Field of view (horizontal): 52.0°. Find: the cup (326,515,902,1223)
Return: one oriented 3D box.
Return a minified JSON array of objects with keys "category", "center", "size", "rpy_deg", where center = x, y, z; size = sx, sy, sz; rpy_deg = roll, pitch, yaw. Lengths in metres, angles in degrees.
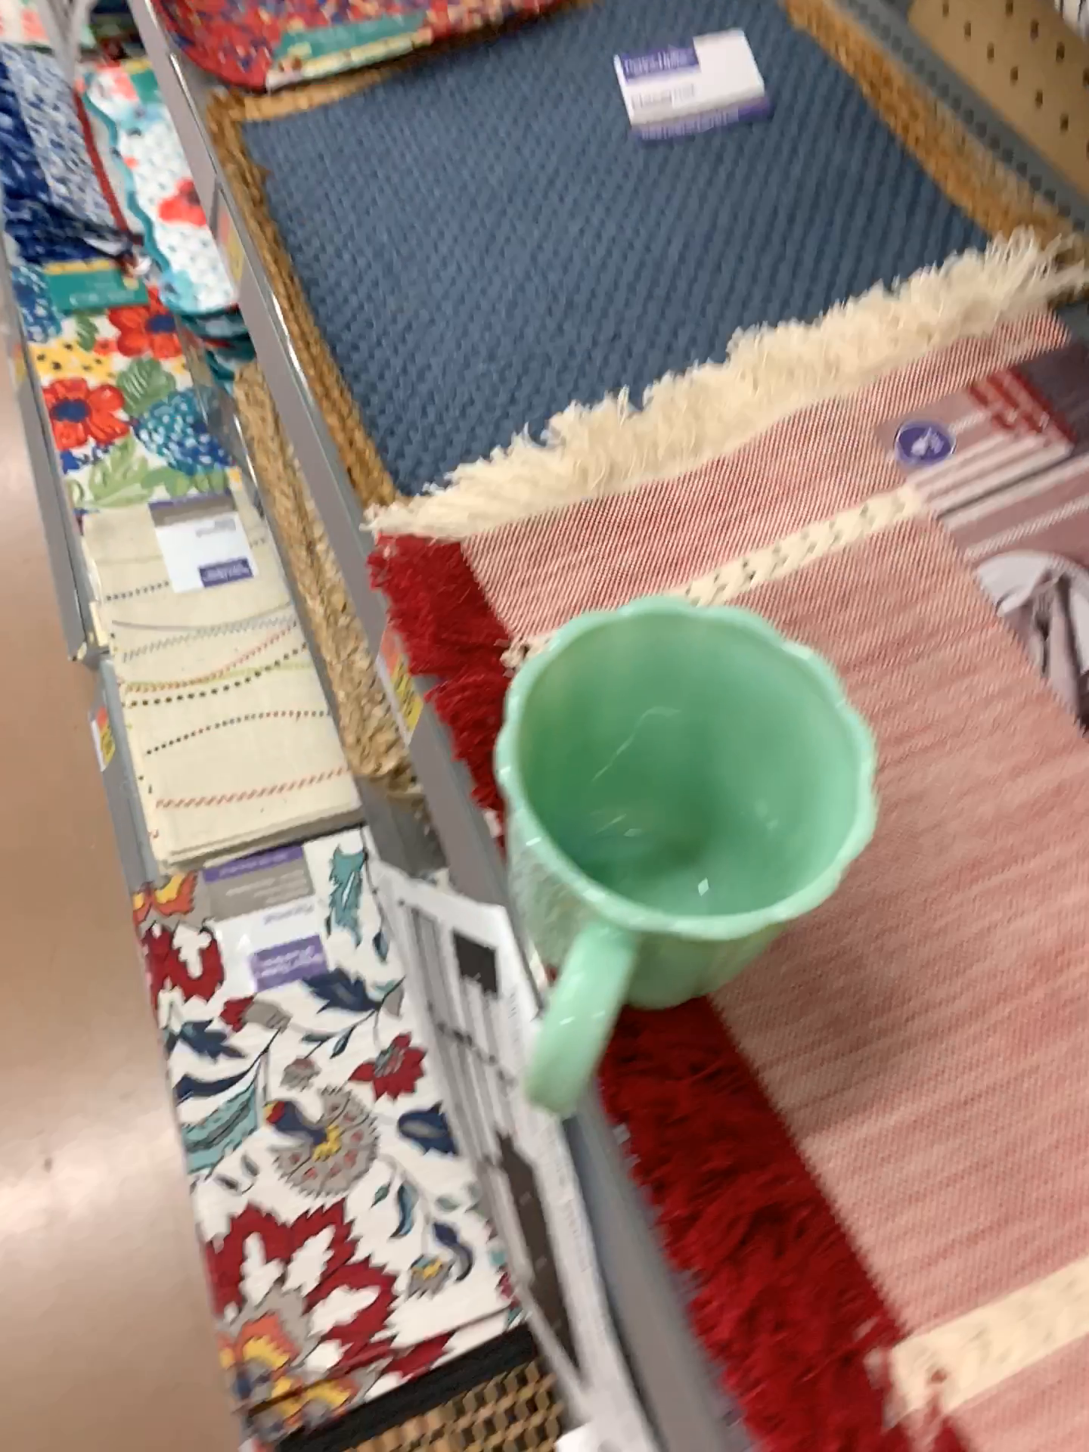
[{"category":"cup","center":[0.019,0.036,0.285],"size":[0.090,0.090,0.130],"rpy_deg":[21,57,7]}]
